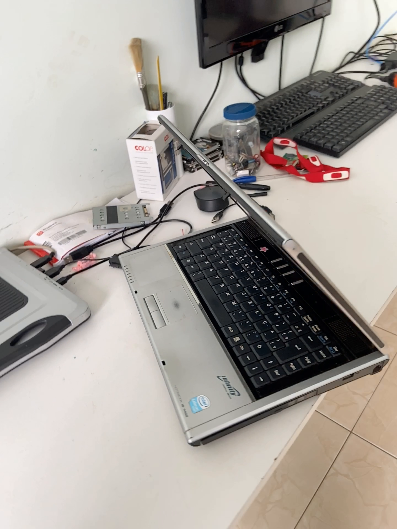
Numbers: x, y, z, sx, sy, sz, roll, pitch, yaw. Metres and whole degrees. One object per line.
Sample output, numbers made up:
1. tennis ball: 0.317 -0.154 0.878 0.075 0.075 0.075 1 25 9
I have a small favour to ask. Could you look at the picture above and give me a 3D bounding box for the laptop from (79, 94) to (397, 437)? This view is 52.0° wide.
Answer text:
1. laptop: 0.030 -0.038 0.492 0.236 0.210 0.339 -18 39 -14
